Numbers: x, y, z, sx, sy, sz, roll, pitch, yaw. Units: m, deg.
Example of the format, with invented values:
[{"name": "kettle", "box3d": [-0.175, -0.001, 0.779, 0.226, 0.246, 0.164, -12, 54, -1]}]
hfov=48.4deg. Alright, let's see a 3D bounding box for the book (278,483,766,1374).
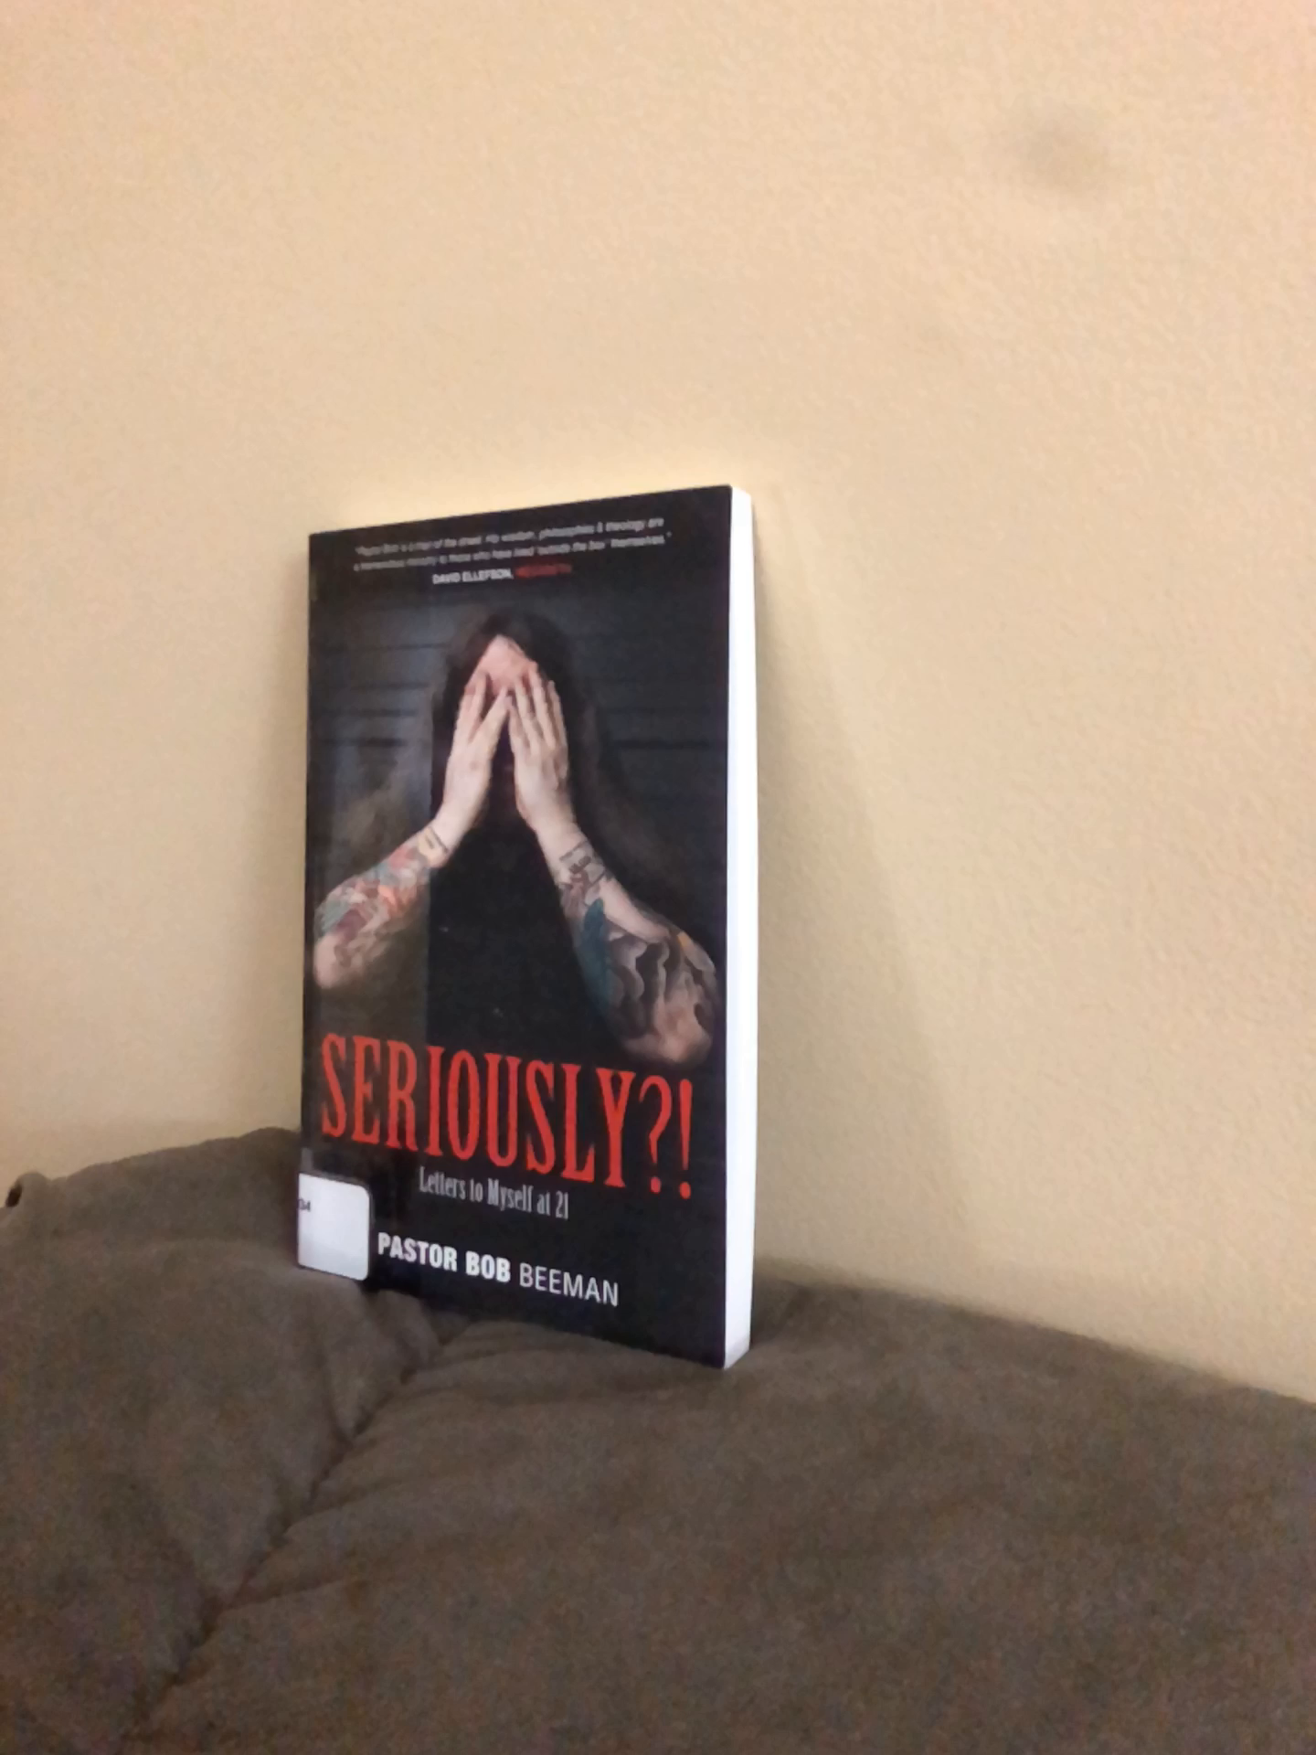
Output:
[{"name": "book", "box3d": [-0.040, 0.010, 0.380, 0.137, 0.205, 0.023, 2, 3, 30]}]
